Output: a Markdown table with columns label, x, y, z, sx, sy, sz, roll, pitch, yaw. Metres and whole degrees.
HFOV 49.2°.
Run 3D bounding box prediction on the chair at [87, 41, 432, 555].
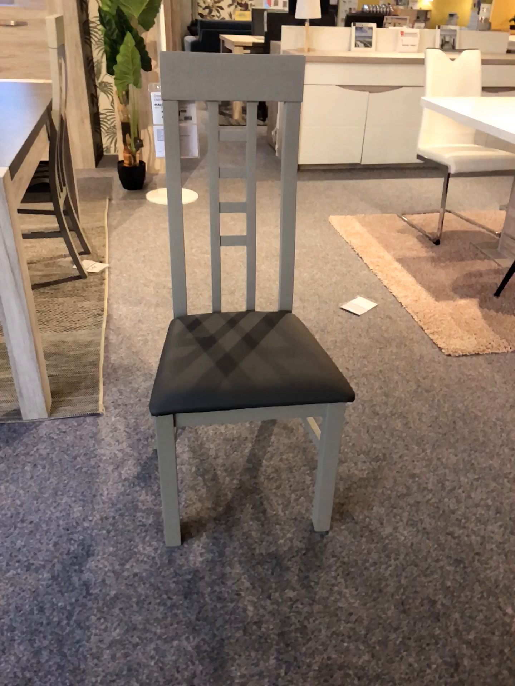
| label | x | y | z | sx | sy | sz | roll | pitch | yaw |
| --- | --- | --- | --- | --- | --- | --- | --- | --- | --- |
| chair | -0.045 | -0.105 | 1.310 | 0.511 | 1.014 | 0.553 | -3 | 31 | -9 |
